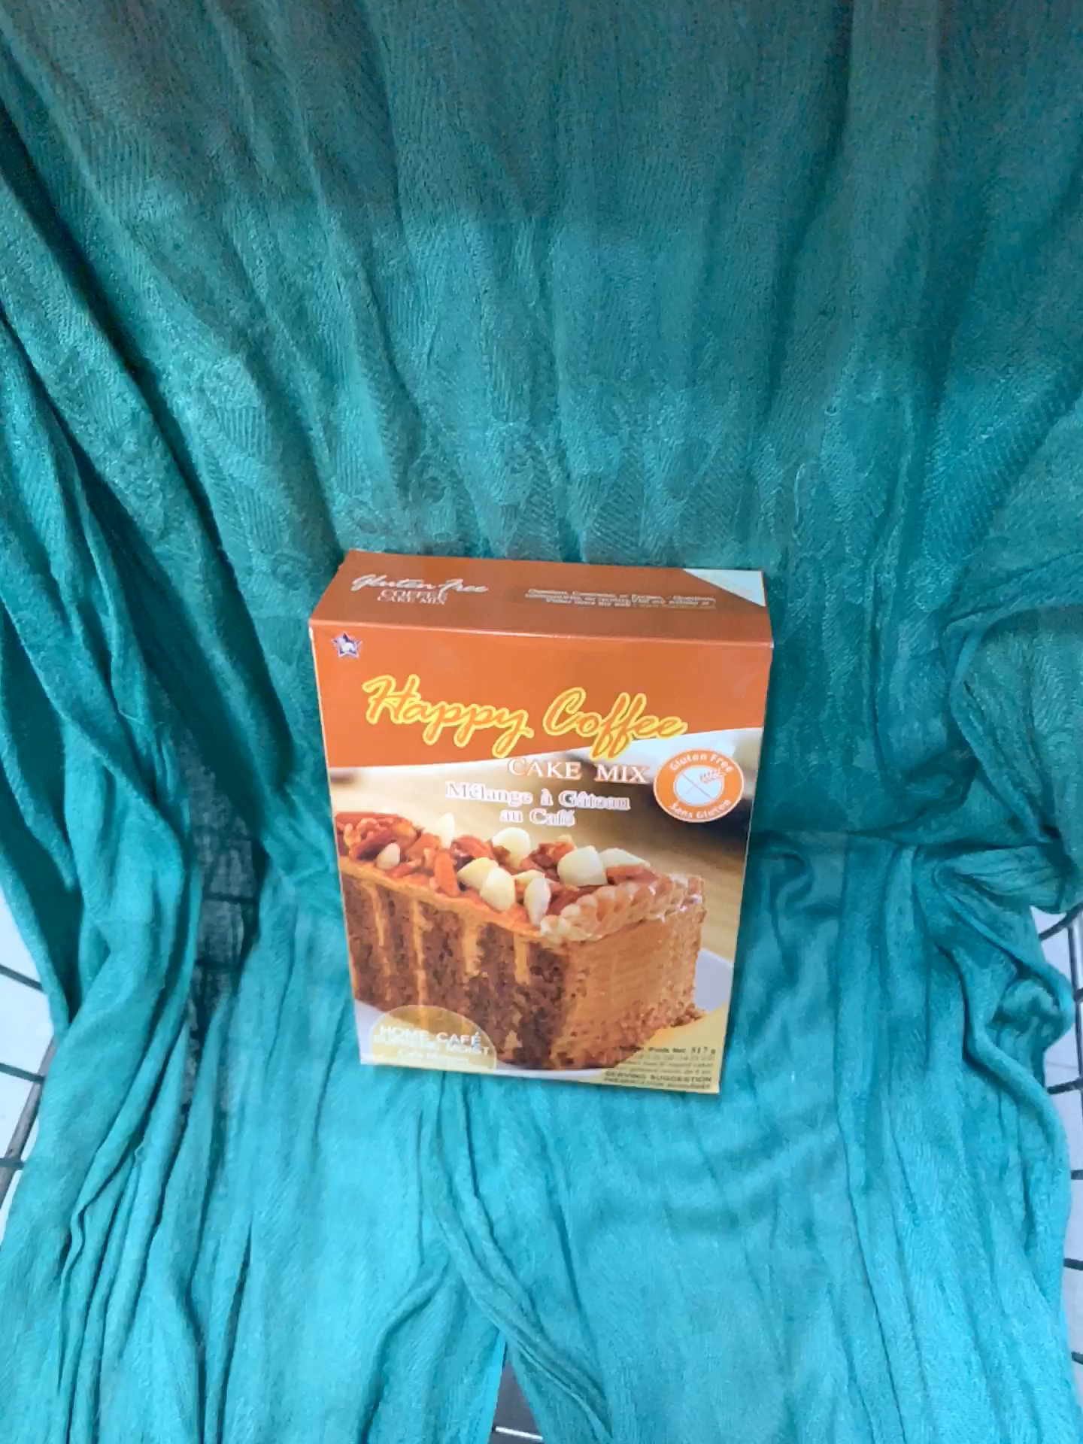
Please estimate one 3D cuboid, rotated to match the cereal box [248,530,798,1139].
[{"bbox_3d":[-0.005,0.046,0.380,0.150,0.210,0.050,3,32,4],"label":"cereal box"}]
